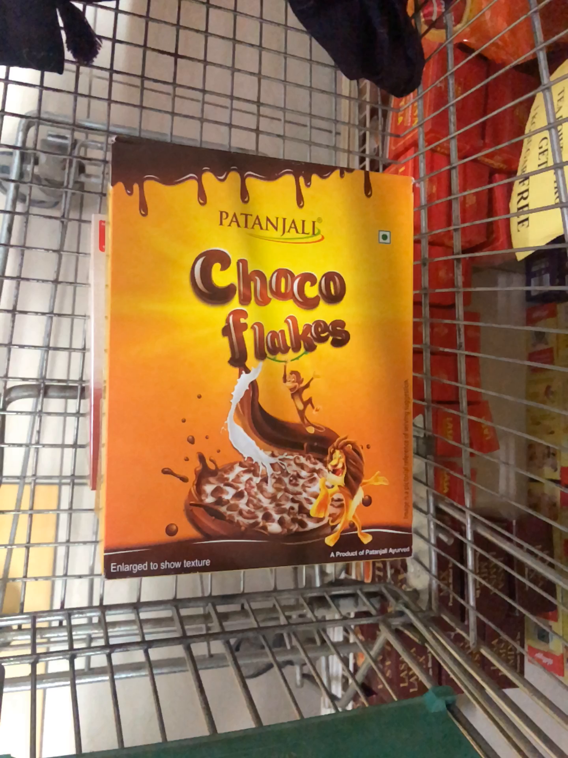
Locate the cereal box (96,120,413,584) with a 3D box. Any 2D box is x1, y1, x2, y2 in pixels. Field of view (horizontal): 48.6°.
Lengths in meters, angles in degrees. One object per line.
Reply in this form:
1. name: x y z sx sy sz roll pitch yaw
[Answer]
1. cereal box: -0.023 -0.012 0.391 0.170 0.110 0.230 1 88 -19
